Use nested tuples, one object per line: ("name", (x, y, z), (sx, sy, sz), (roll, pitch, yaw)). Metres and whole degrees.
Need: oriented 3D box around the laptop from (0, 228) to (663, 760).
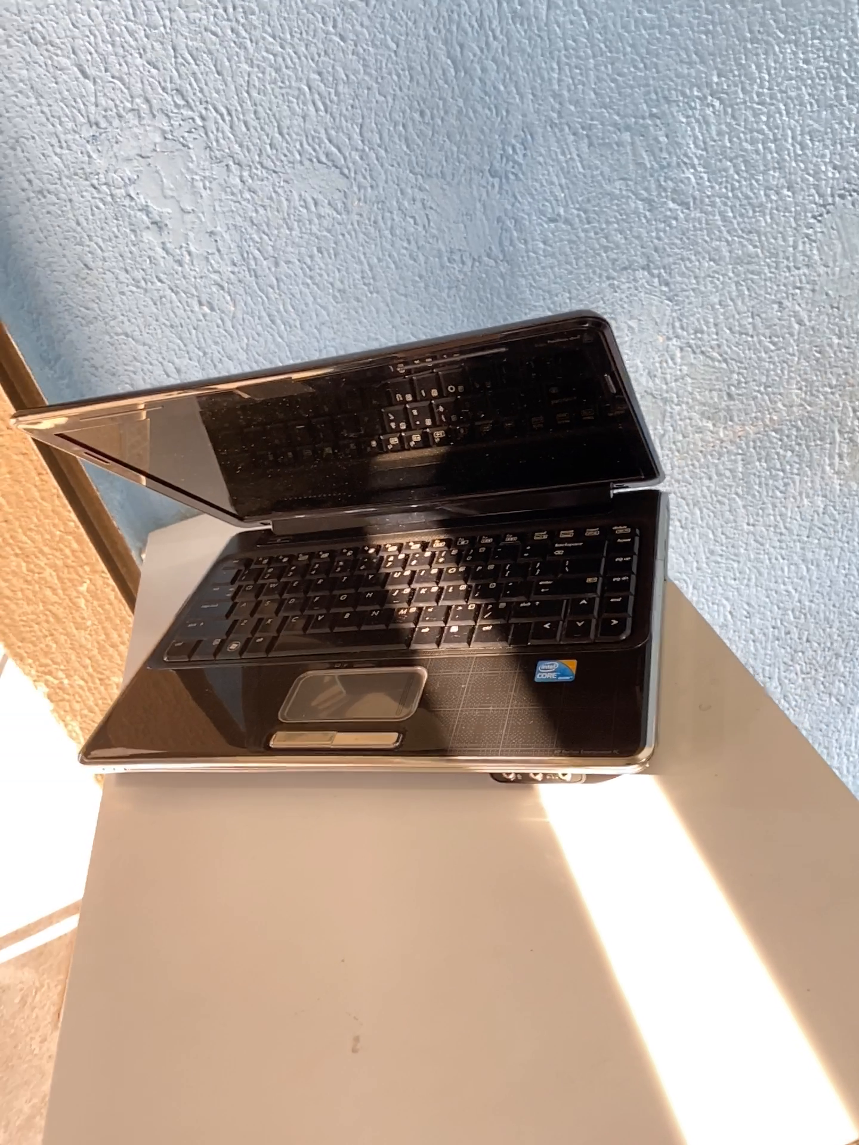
("laptop", (-0.049, -0.040, 0.499), (0.325, 0.165, 0.226), (-5, 35, 21))
